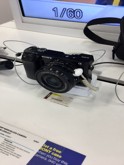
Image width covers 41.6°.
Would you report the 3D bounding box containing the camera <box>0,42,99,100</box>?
[{"bbox_3d":[-0.022,-0.024,0.291,0.145,0.056,0.068,15,45,21],"label":"camera"}]
